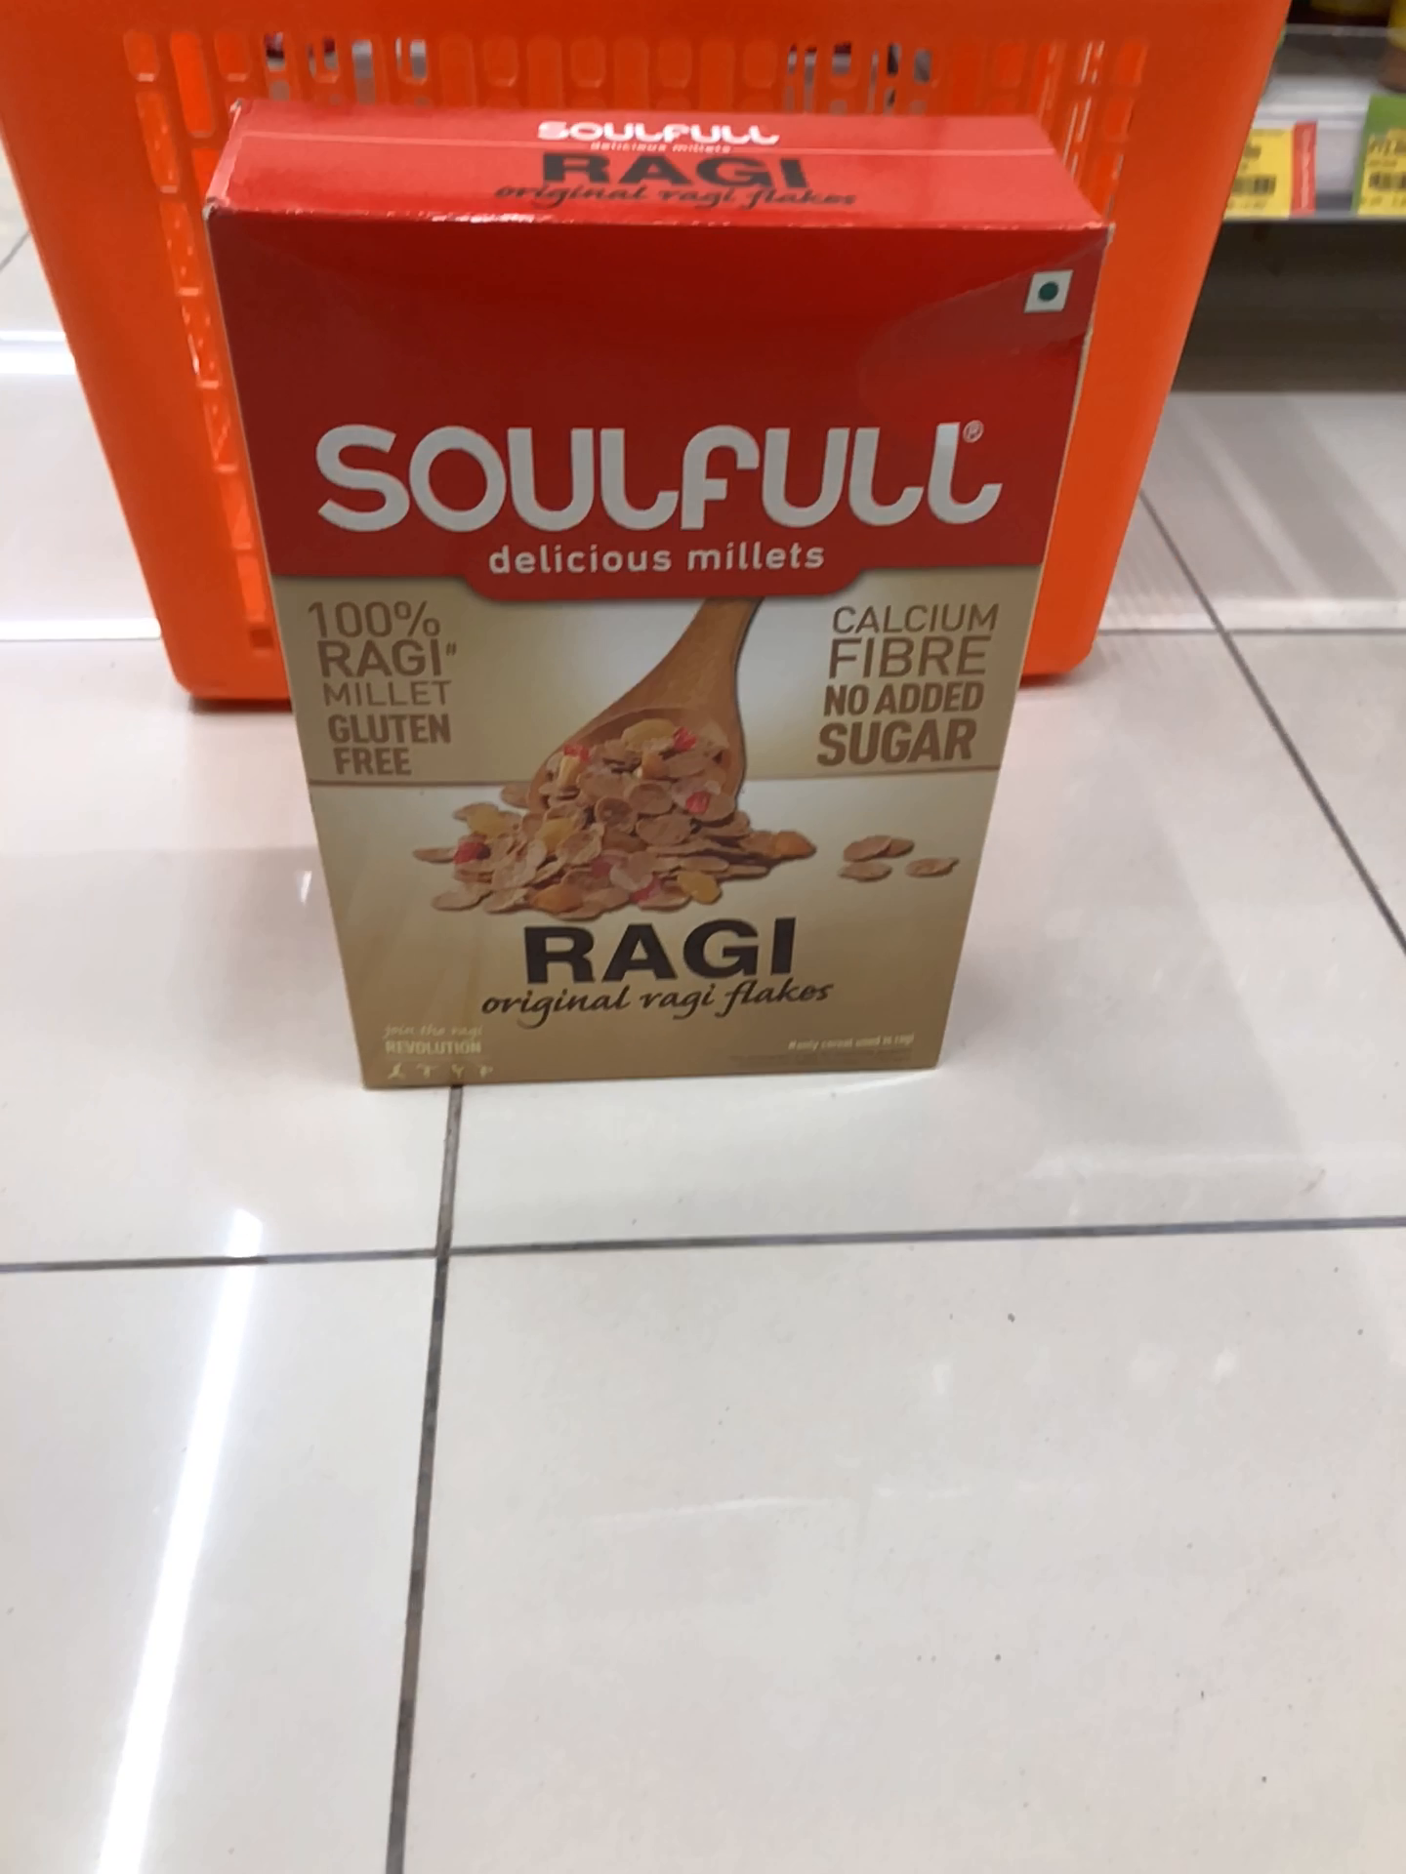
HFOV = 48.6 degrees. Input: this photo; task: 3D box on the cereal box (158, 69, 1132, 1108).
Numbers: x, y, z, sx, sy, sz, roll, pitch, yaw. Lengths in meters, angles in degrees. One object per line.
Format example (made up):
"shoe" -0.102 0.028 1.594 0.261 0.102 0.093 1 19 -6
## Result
"cereal box" -0.015 -0.065 0.373 0.170 0.238 0.060 -2 42 -5
